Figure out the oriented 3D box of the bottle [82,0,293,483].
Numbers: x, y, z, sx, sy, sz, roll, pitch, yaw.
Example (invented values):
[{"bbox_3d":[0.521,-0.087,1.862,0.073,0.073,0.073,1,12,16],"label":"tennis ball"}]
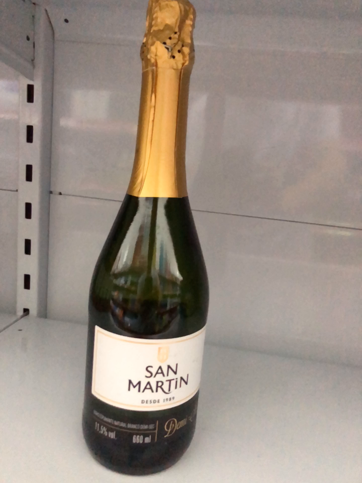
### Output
[{"bbox_3d":[-0.010,-0.010,0.262,0.090,0.309,0.080,2,11,-16],"label":"bottle"}]
